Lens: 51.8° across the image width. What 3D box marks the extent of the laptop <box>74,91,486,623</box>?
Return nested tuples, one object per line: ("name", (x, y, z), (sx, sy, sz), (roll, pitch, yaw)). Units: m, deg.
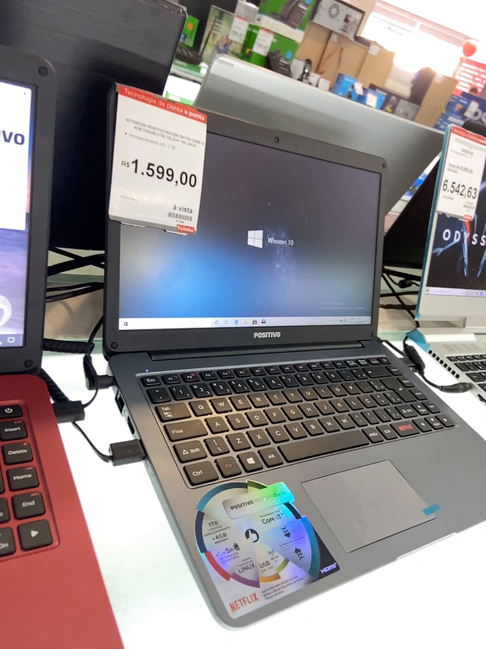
("laptop", (0.076, -0.017, 0.409), (0.320, 0.171, 0.324), (0, 36, -35))
